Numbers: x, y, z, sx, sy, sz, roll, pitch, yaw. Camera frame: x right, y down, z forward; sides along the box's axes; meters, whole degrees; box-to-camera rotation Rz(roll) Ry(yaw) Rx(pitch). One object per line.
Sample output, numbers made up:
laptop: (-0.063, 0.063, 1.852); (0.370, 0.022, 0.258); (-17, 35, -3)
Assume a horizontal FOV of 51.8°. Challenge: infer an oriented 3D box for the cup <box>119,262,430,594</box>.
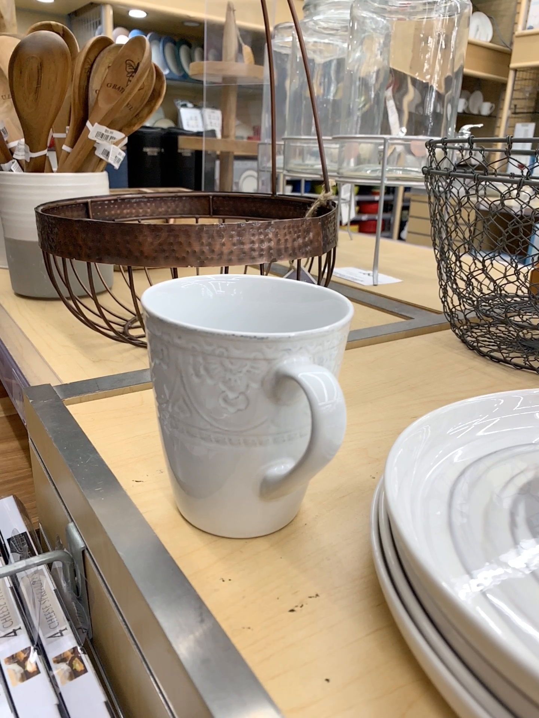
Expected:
cup: (-0.006, 0.019, 0.284); (0.099, 0.107, 0.125); (-11, 24, -29)
